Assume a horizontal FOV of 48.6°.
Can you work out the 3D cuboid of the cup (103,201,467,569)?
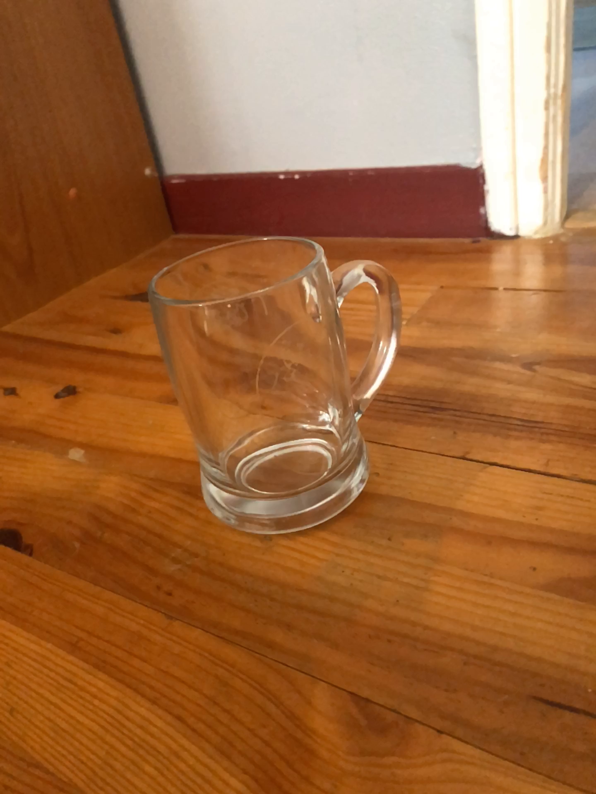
[{"bbox_3d":[-0.002,-0.015,0.314,0.128,0.110,0.091,-24,32,-21],"label":"cup"}]
